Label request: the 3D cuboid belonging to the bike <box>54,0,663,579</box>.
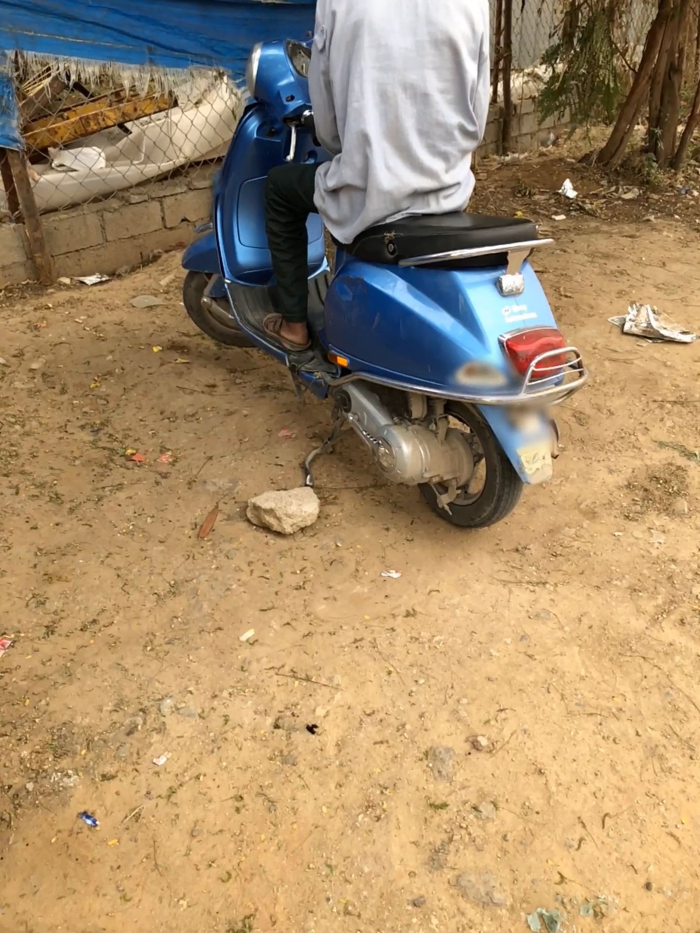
[{"bbox_3d":[-0.077,-0.715,2.327,0.634,1.253,1.568,-25,43,-34],"label":"bike"}]
